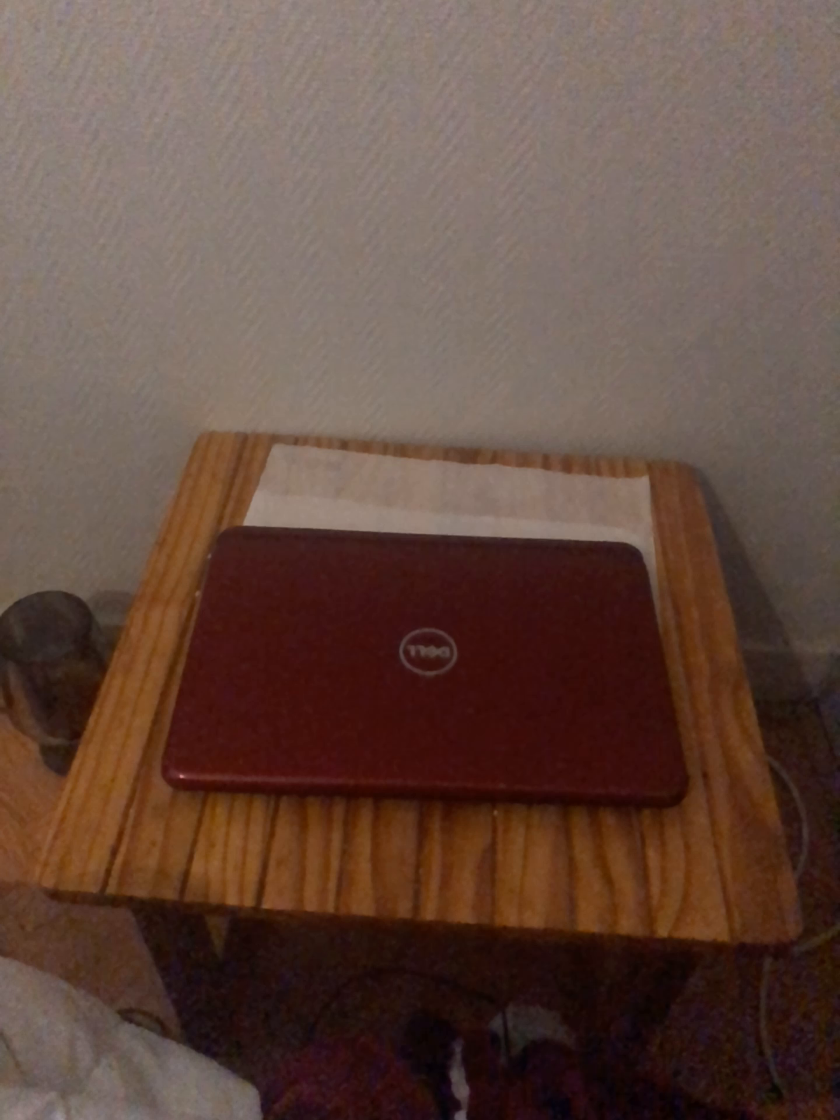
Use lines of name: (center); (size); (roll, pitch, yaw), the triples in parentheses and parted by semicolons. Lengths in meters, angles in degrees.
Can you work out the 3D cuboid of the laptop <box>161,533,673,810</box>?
laptop: (0.002, 0.078, 0.749); (0.365, 0.011, 0.247); (3, 47, 0)
